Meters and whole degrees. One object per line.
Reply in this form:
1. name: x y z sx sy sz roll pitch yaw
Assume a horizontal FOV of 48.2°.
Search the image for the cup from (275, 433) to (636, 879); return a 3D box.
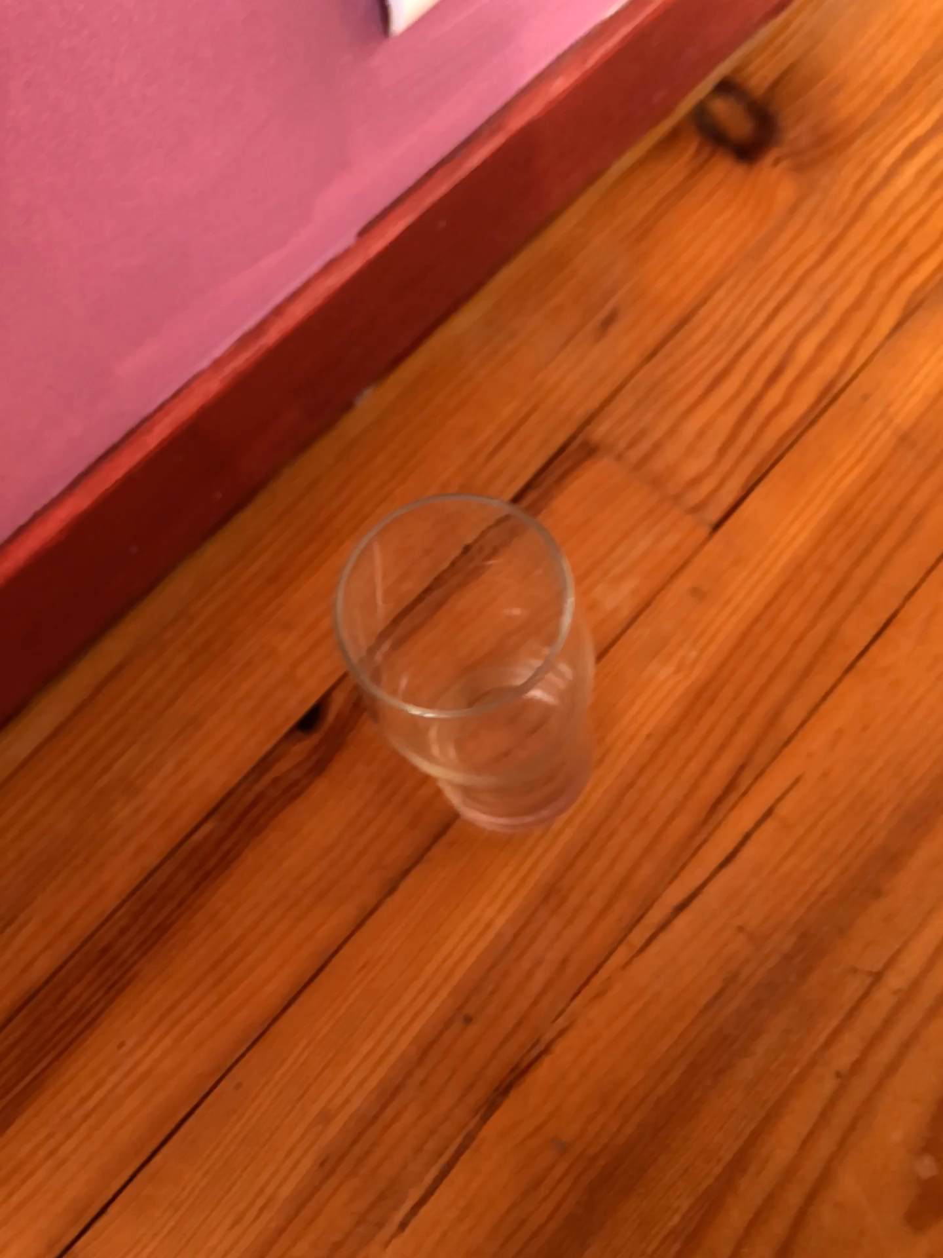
1. cup: 0.005 0.018 0.309 0.060 0.144 0.064 -3 67 6
